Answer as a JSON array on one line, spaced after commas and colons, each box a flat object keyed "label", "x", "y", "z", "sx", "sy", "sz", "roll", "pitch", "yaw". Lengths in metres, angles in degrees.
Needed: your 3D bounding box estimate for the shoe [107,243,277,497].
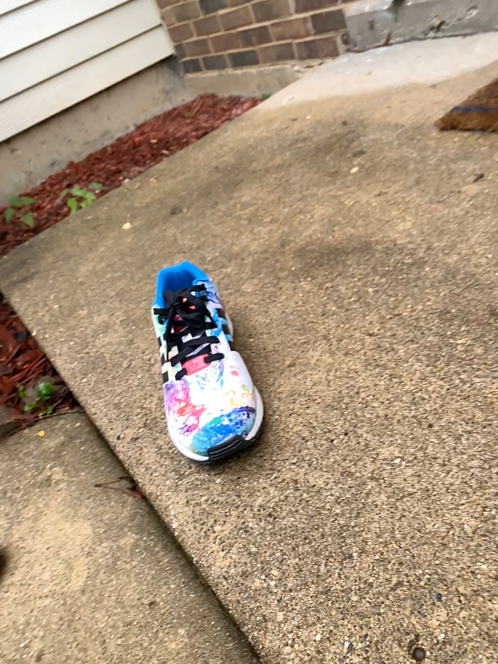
[{"label": "shoe", "x": -0.063, "y": 0.023, "z": 0.534, "sx": 0.110, "sy": 0.104, "sz": 0.247, "roll": -21, "pitch": 35, "yaw": 4}]
